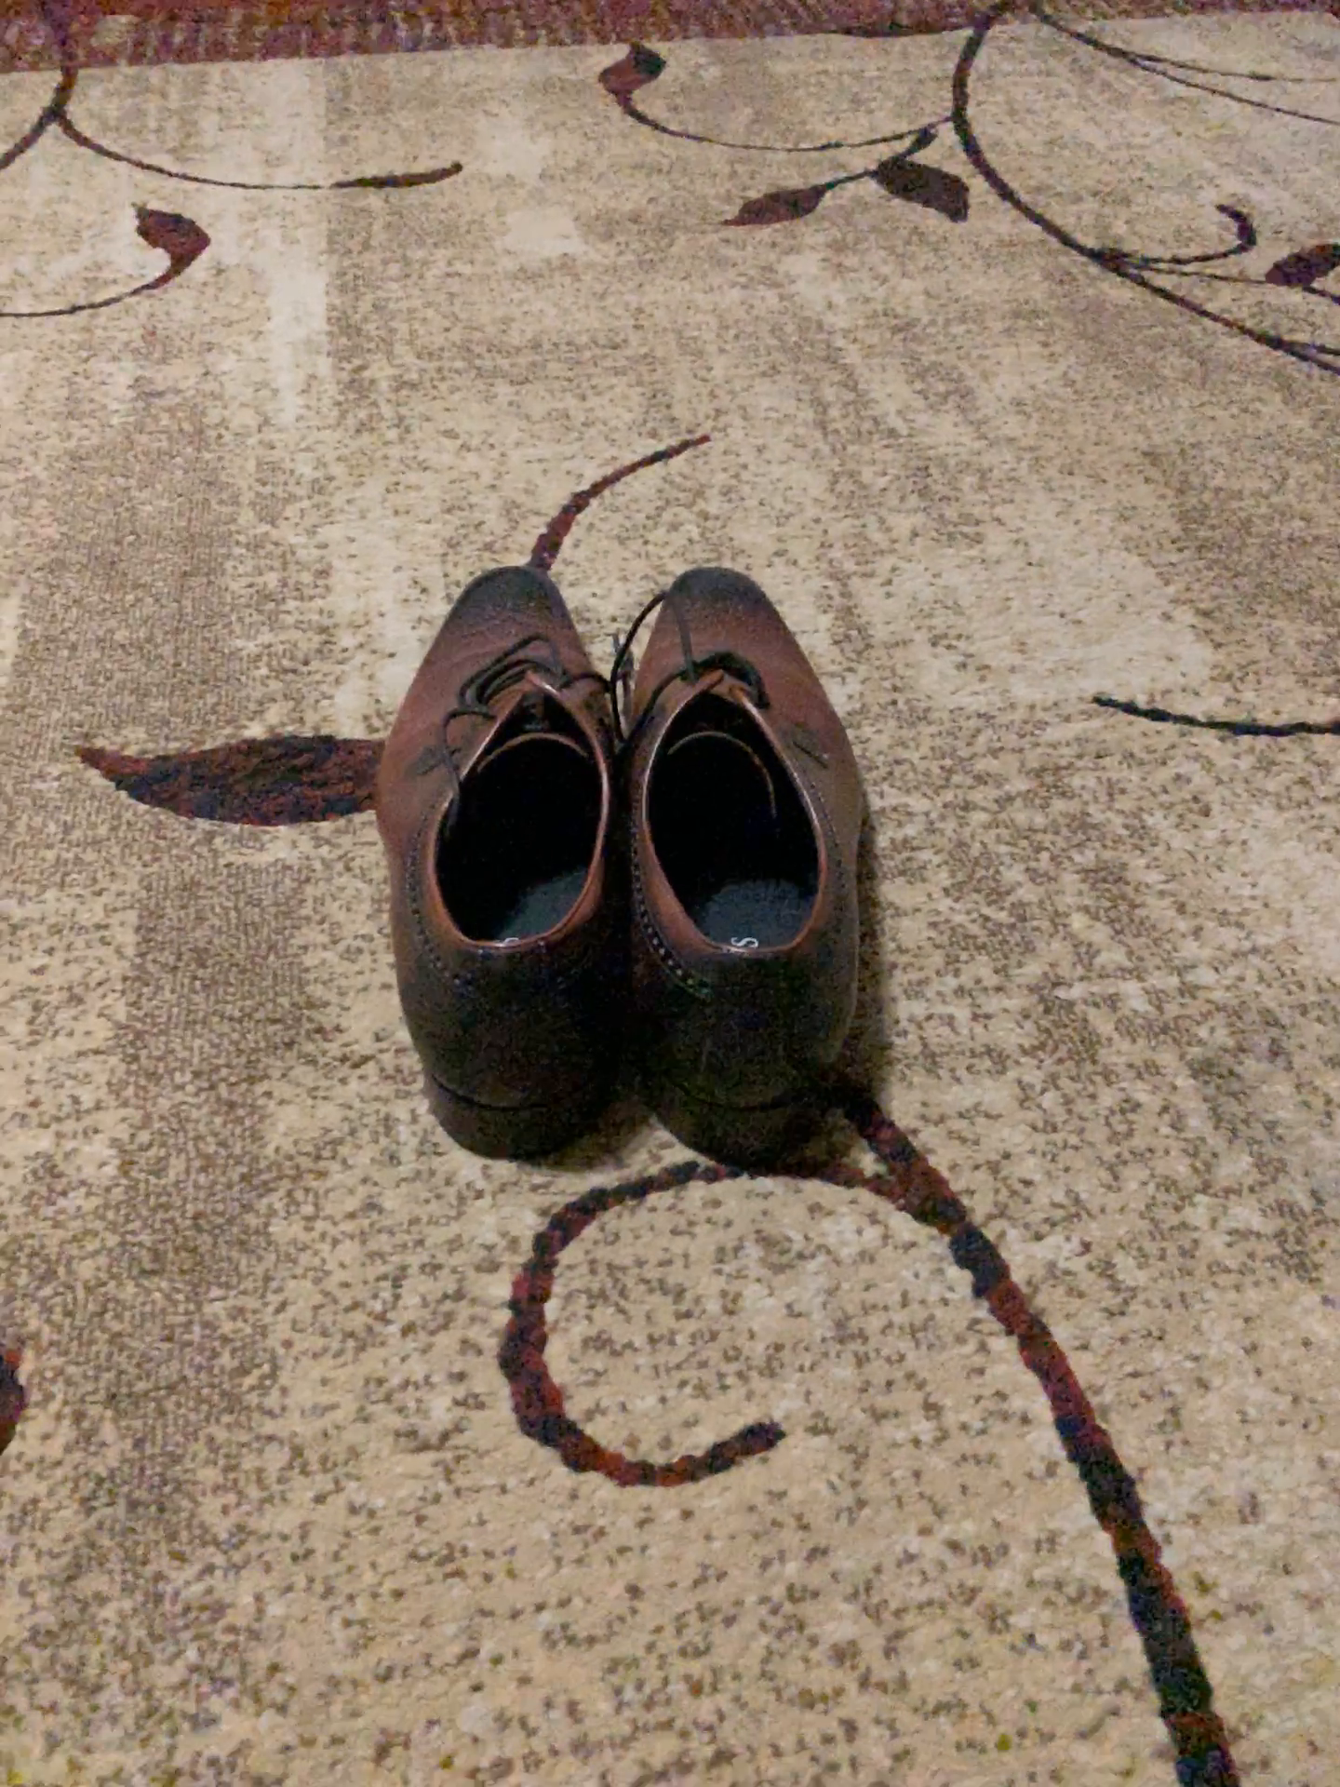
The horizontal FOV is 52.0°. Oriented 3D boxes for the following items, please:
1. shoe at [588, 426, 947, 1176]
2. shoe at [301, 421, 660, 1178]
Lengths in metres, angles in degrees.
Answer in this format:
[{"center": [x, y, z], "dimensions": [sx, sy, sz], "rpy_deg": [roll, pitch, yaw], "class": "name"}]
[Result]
[{"center": [0.027, -0.048, 0.501], "dimensions": [0.095, 0.115, 0.276], "rpy_deg": [1, 47, 0], "class": "shoe"}, {"center": [-0.063, -0.050, 0.503], "dimensions": [0.095, 0.115, 0.276], "rpy_deg": [-3, 47, -4], "class": "shoe"}]
